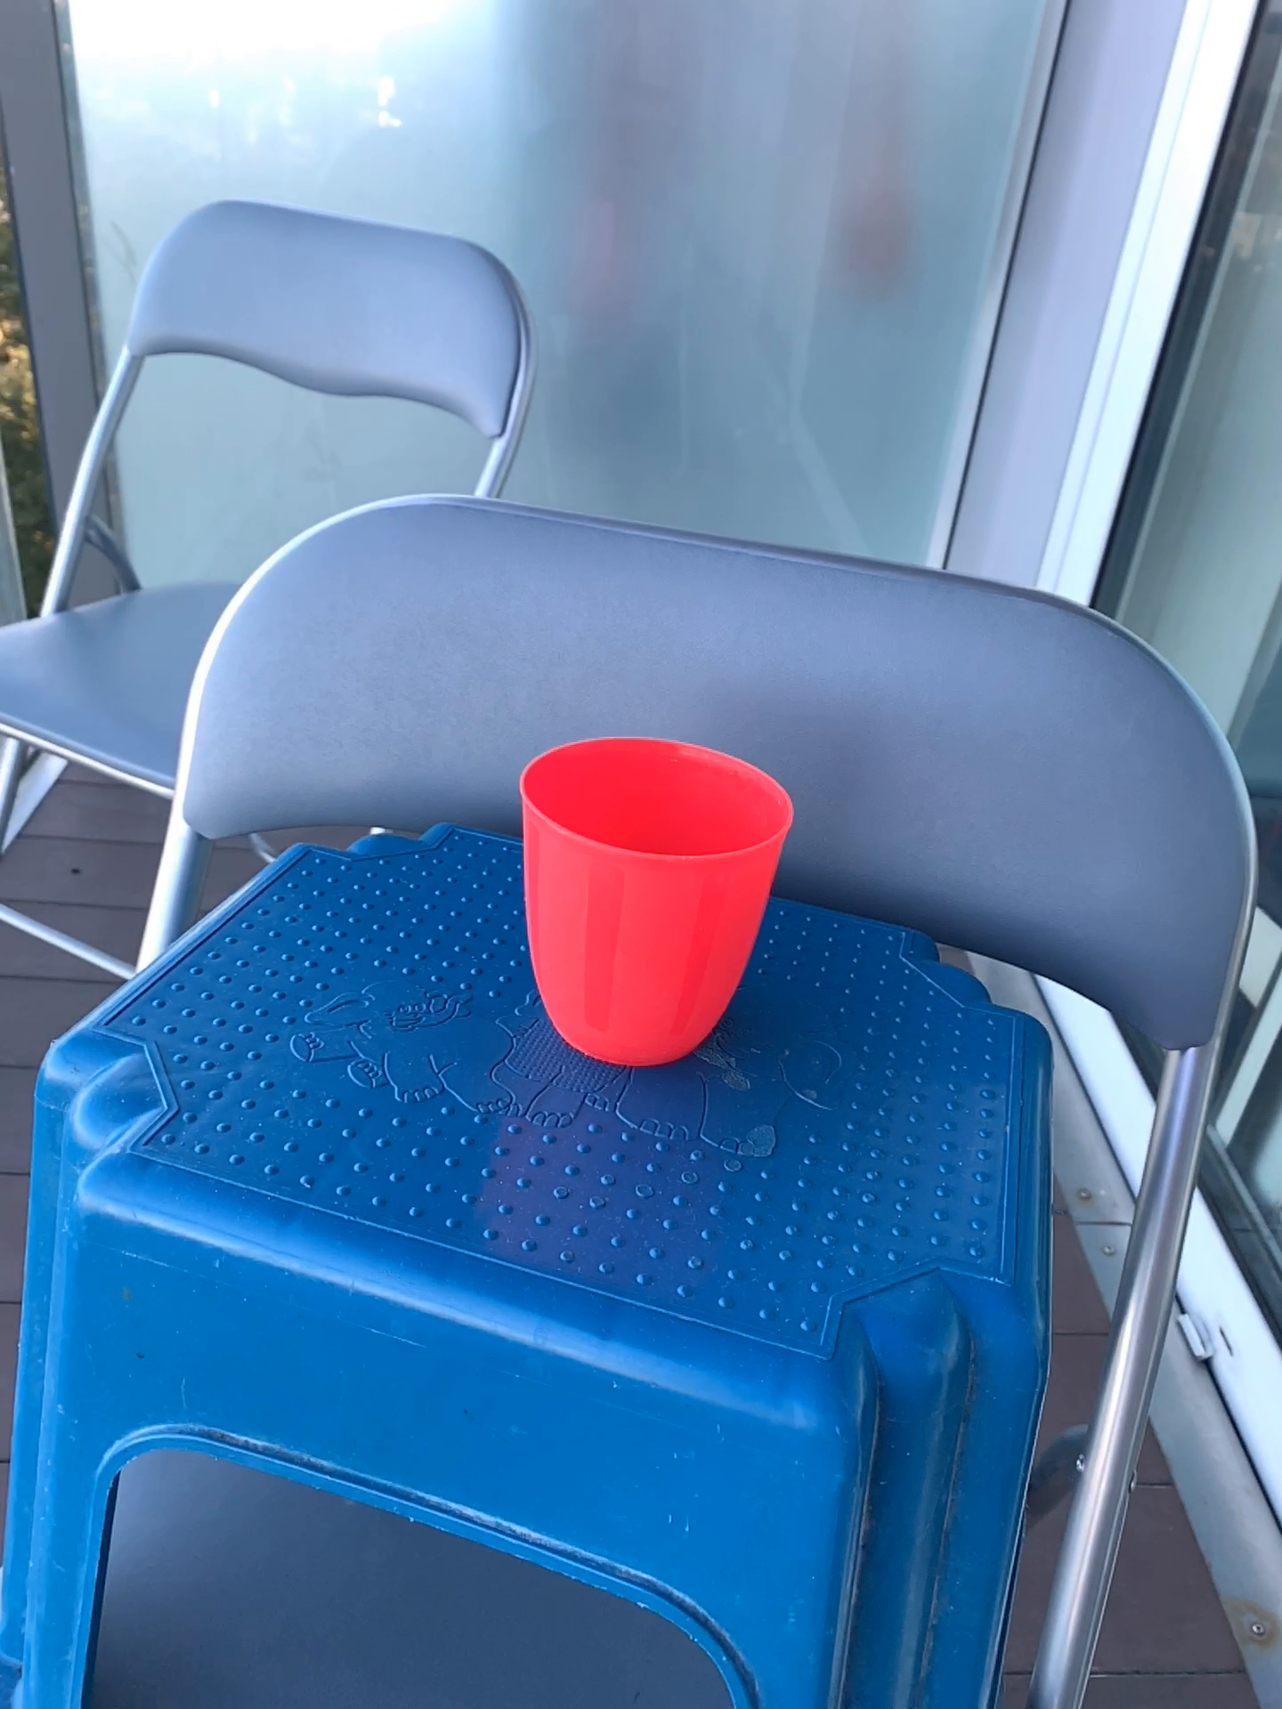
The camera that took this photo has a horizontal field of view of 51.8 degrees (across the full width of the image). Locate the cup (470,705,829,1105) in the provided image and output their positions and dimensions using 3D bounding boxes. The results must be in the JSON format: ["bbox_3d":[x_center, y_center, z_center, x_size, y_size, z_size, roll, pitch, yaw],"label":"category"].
[{"bbox_3d":[0.003,0.013,0.404,0.086,0.077,0.074,13,32,11],"label":"cup"}]
